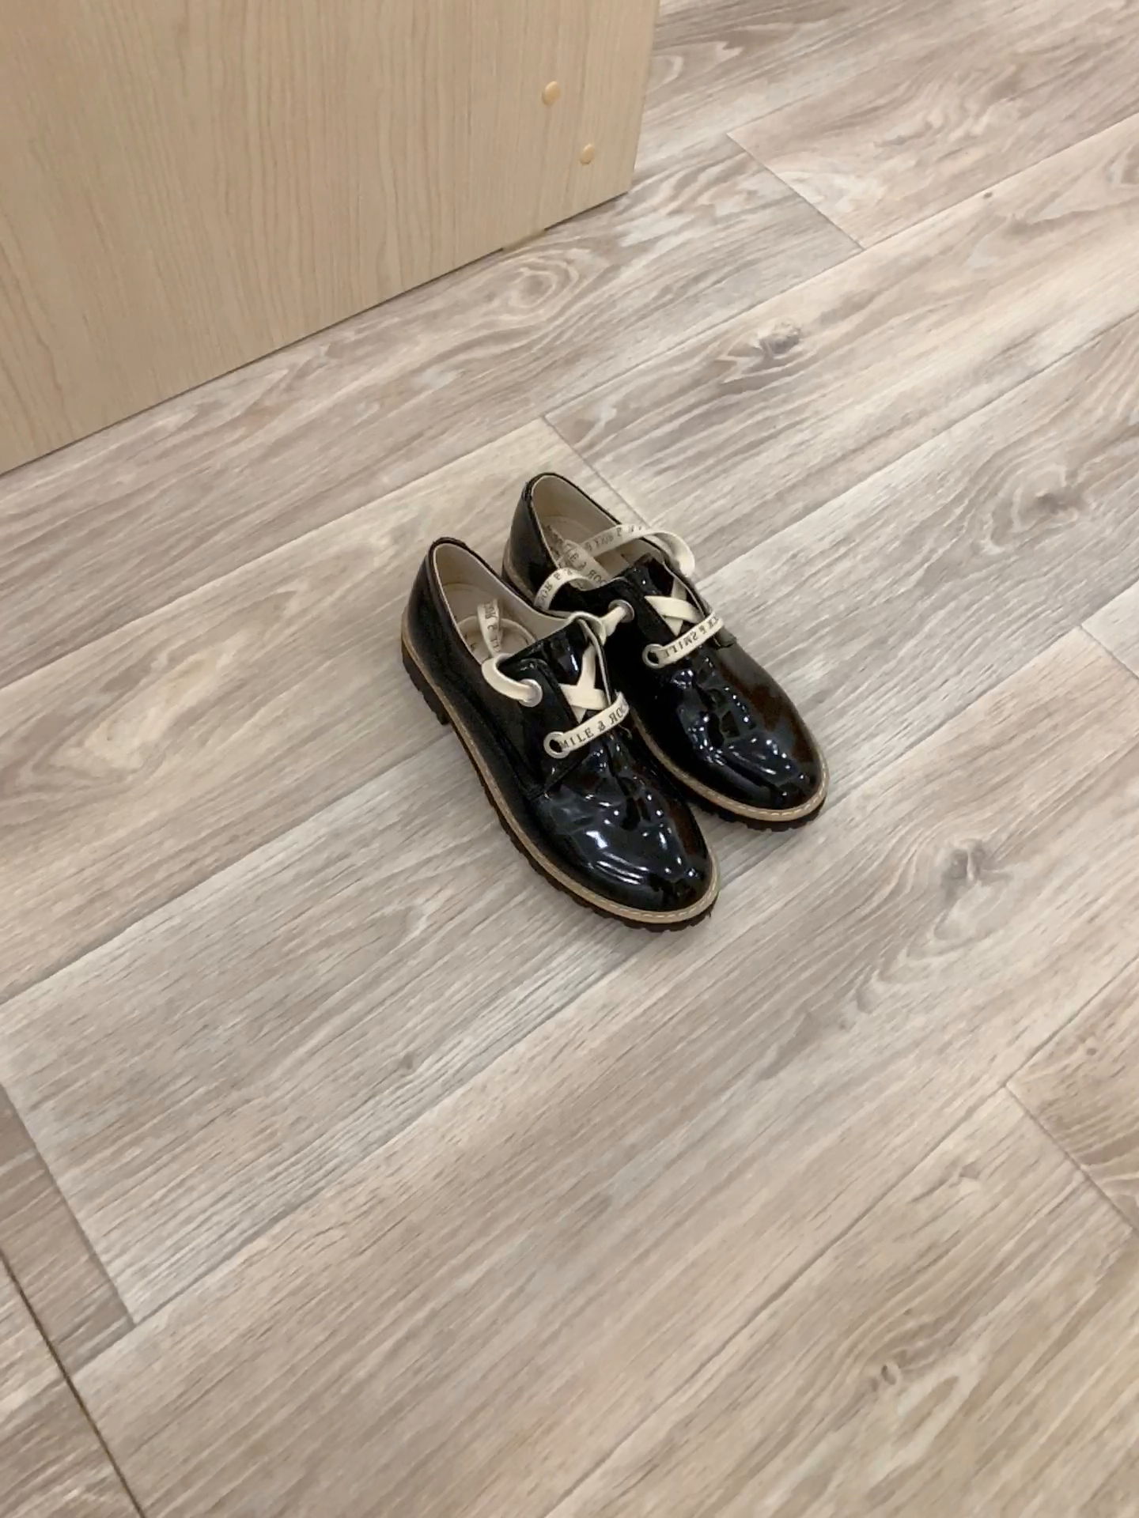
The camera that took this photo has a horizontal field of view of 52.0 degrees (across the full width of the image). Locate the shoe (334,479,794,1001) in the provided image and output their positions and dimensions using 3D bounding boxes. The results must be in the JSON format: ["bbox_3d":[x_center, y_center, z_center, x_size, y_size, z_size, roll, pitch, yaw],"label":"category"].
[{"bbox_3d":[-0.013,-0.015,0.655,0.100,0.100,0.270,-32,69,-21],"label":"shoe"}]

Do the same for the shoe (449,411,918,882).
[{"bbox_3d":[0.055,-0.070,0.697,0.100,0.100,0.270,-39,71,-23],"label":"shoe"}]
